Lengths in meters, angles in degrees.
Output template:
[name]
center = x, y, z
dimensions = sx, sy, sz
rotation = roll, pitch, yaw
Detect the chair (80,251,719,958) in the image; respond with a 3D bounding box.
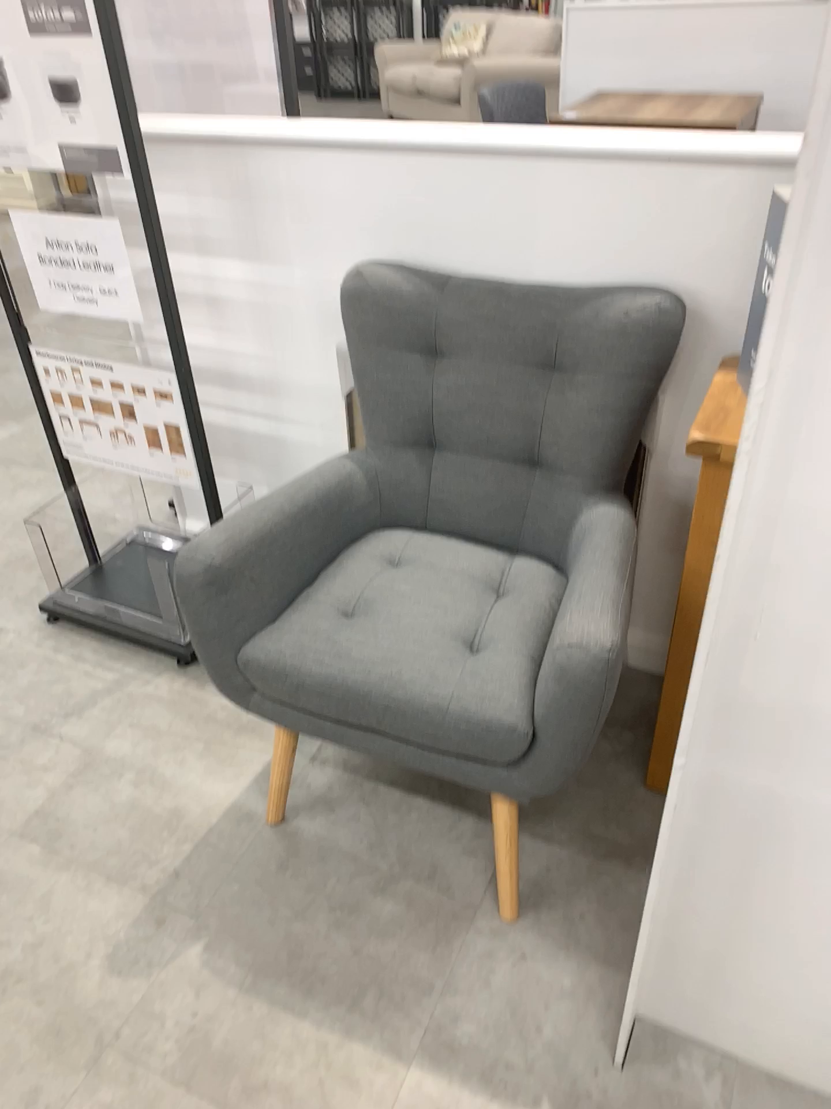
[chair]
center = 0.022, 0.051, 1.403
dimensions = 0.709, 0.878, 0.543
rotation = 13, 38, 22
